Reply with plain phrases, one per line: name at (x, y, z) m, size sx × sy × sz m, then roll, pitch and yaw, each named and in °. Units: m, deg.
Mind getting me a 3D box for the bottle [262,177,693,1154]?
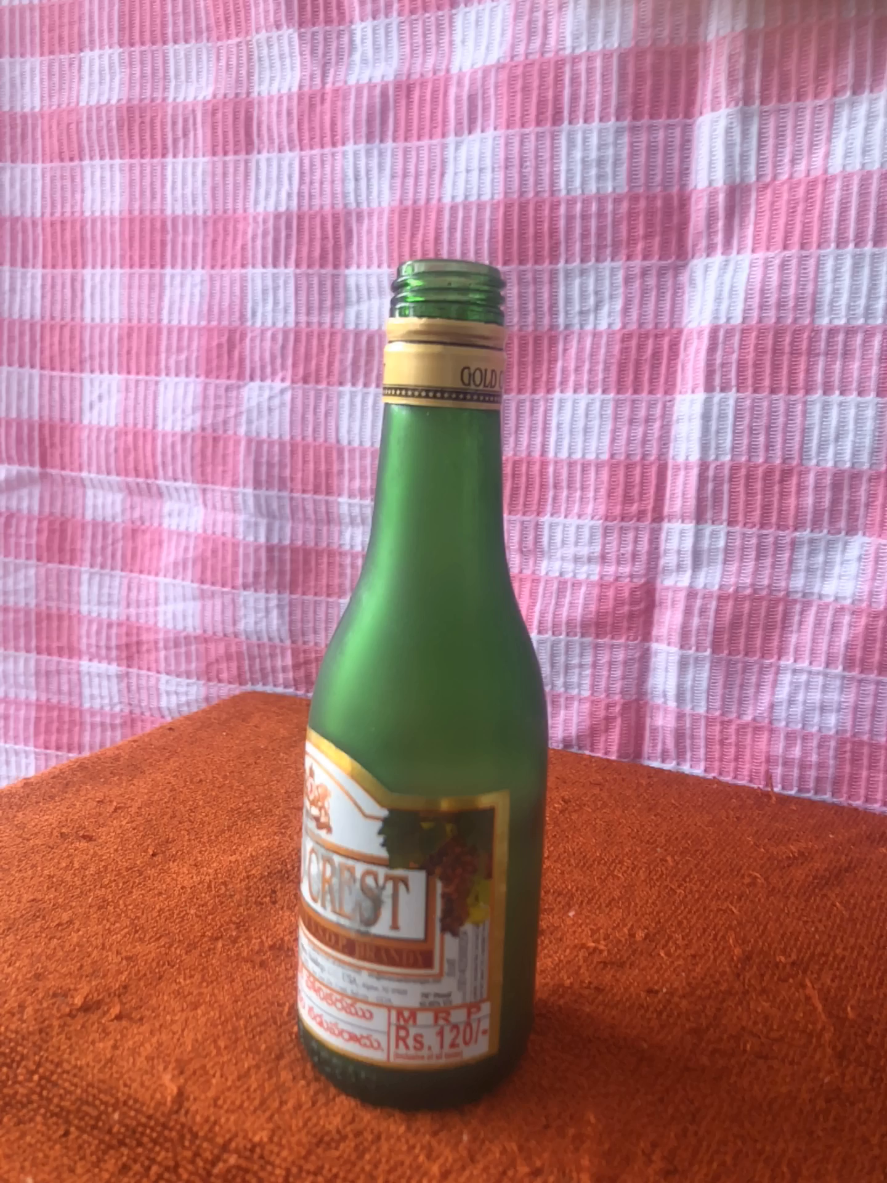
bottle at (0.000, 0.013, 0.202) m, size 0.060 × 0.170 × 0.060 m, roll 3°, pitch 12°, yaw -1°
